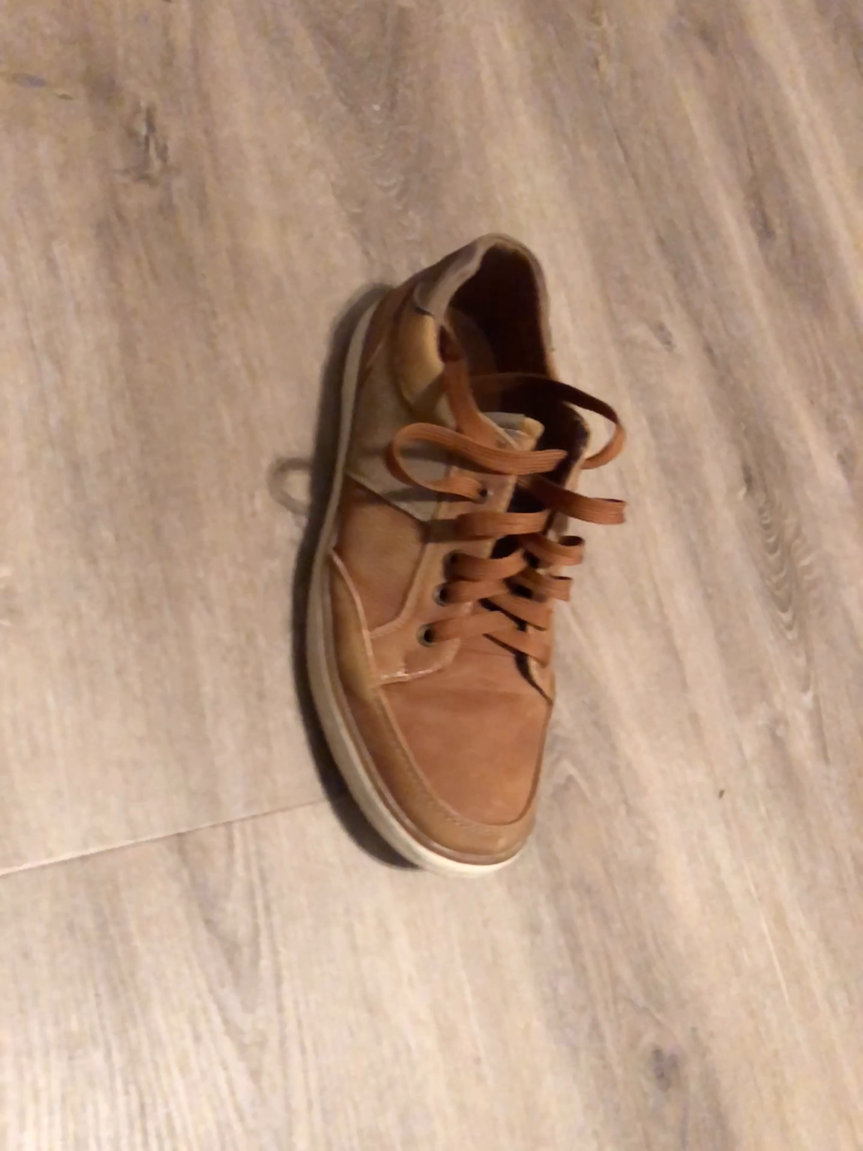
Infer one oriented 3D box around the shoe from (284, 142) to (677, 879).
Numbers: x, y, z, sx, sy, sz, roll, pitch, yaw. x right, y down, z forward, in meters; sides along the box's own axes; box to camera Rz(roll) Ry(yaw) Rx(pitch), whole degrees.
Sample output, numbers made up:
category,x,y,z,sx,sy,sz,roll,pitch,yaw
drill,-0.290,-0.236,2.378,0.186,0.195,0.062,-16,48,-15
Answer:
category,x,y,z,sx,sy,sz,roll,pitch,yaw
shoe,0.013,-0.022,0.408,0.110,0.100,0.280,11,66,-27
